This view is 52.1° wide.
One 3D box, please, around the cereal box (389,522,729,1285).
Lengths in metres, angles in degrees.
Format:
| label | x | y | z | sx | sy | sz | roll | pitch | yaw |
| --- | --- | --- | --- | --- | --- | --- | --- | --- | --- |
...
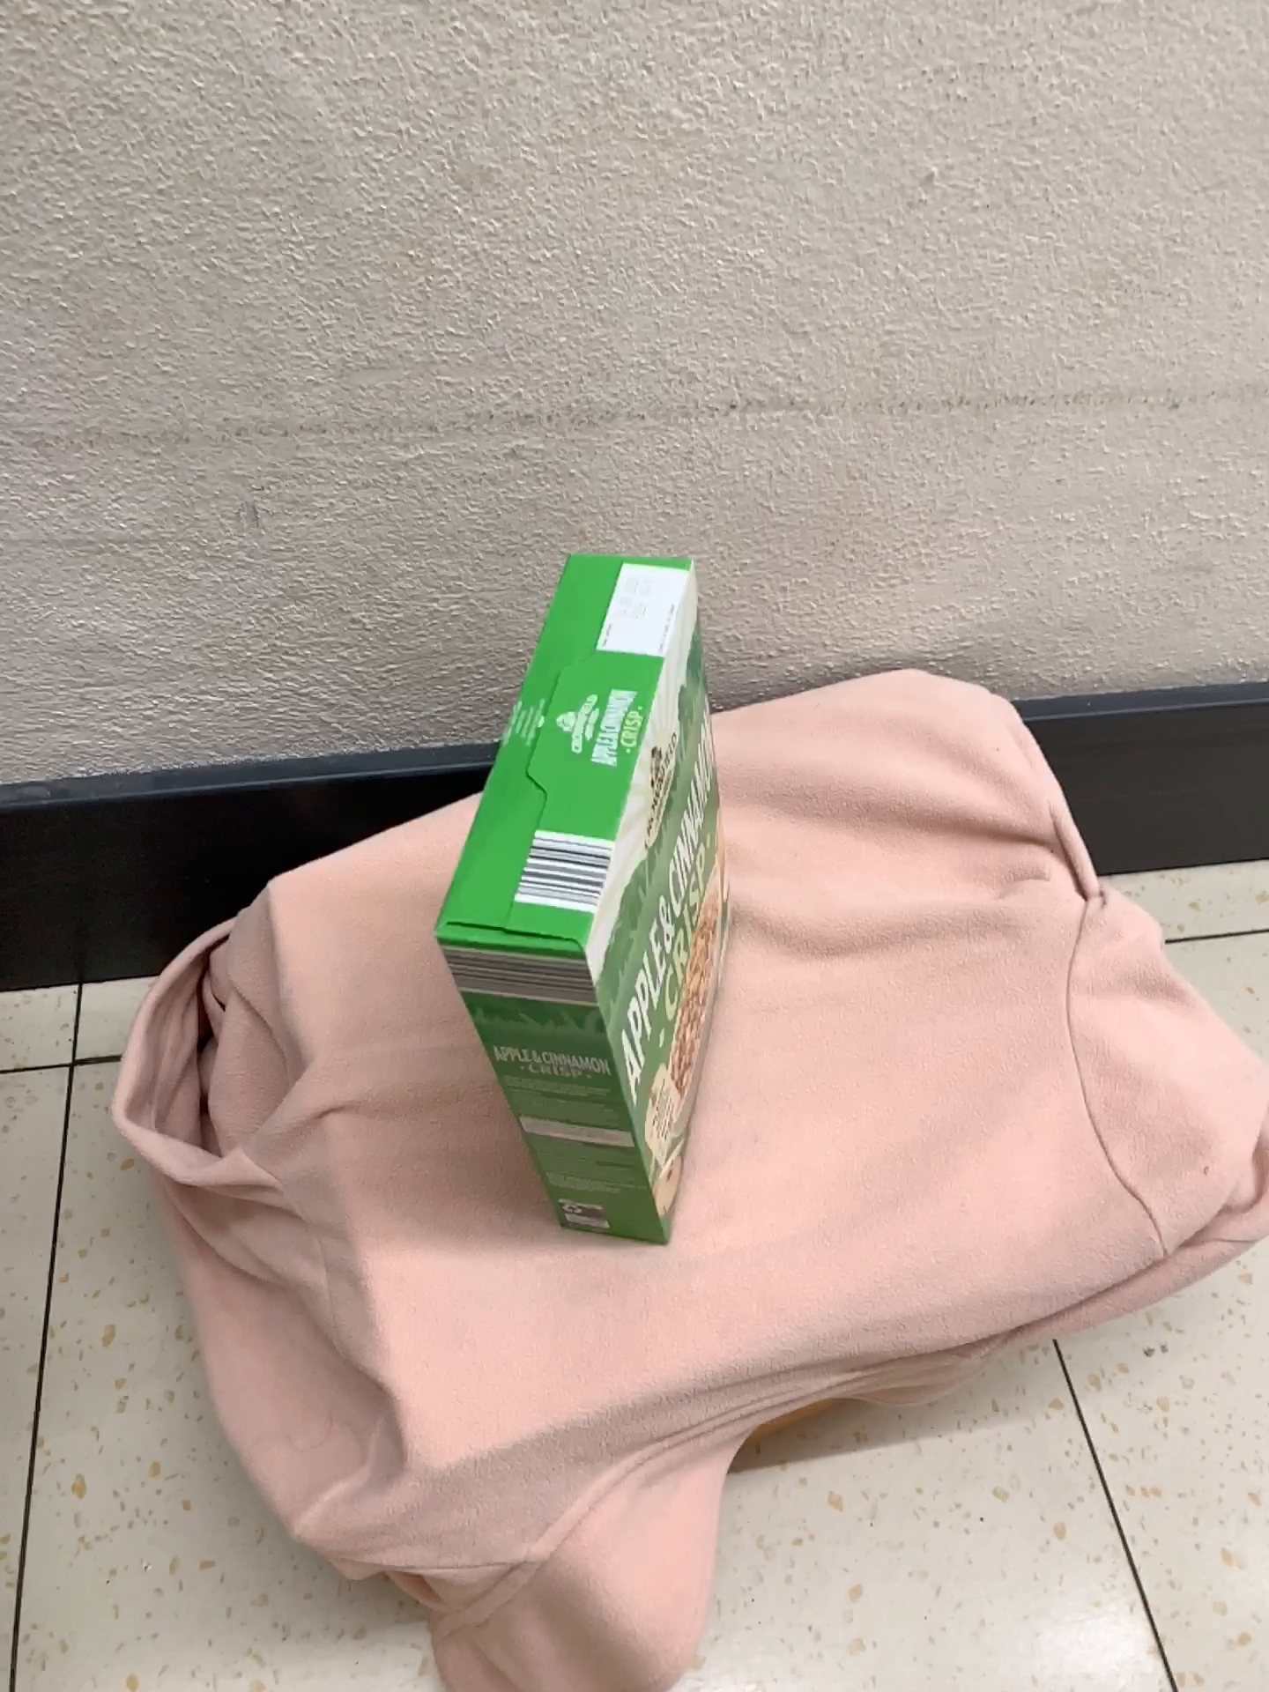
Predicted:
| label | x | y | z | sx | sy | sz | roll | pitch | yaw |
| --- | --- | --- | --- | --- | --- | --- | --- | --- | --- |
| cereal box | -0.011 | 0.035 | 0.527 | 0.060 | 0.258 | 0.191 | 7 | 54 | 11 |
